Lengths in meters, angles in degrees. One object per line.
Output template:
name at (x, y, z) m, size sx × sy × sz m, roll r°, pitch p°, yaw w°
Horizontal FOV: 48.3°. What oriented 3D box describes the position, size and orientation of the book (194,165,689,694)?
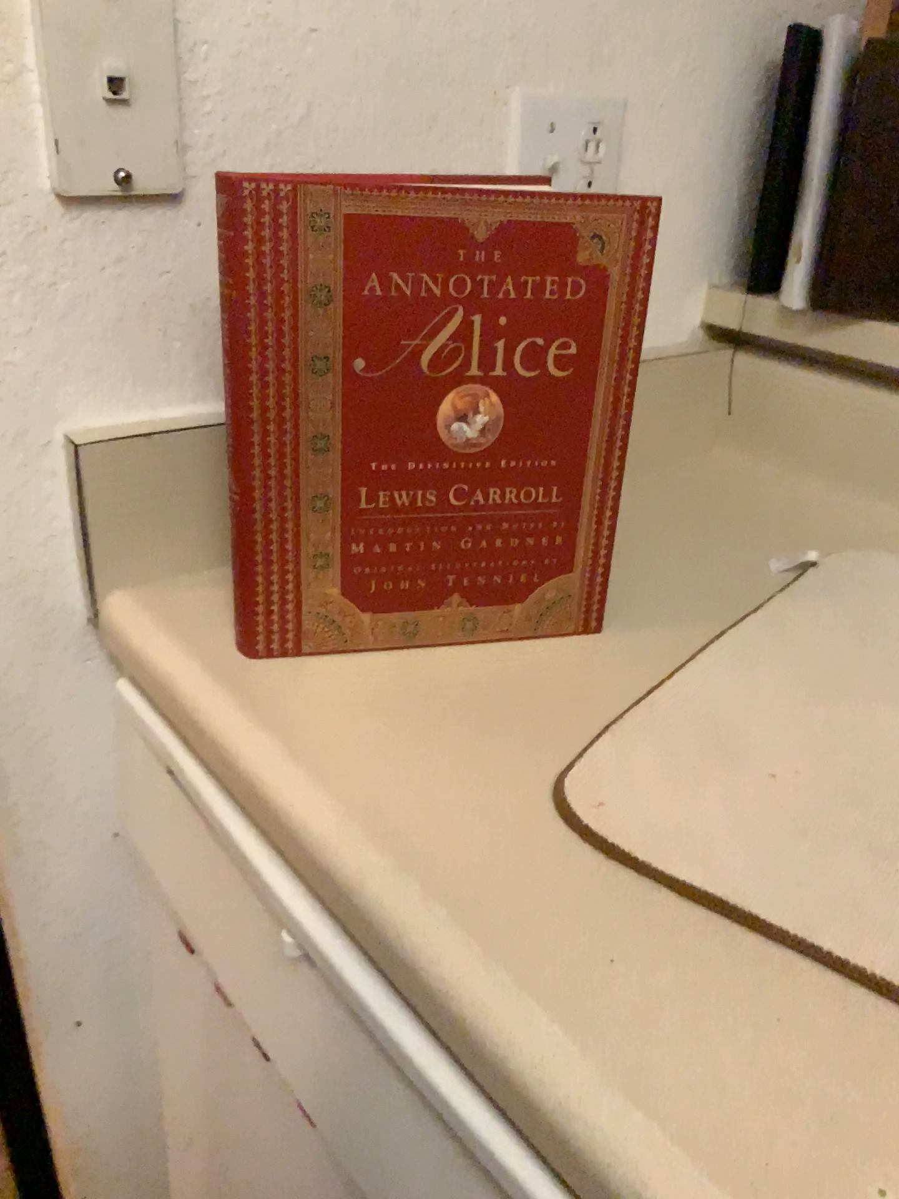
book at (-0.017, -0.109, 0.597) m, size 0.230 × 0.260 × 0.150 m, roll -7°, pitch 28°, yaw -18°
